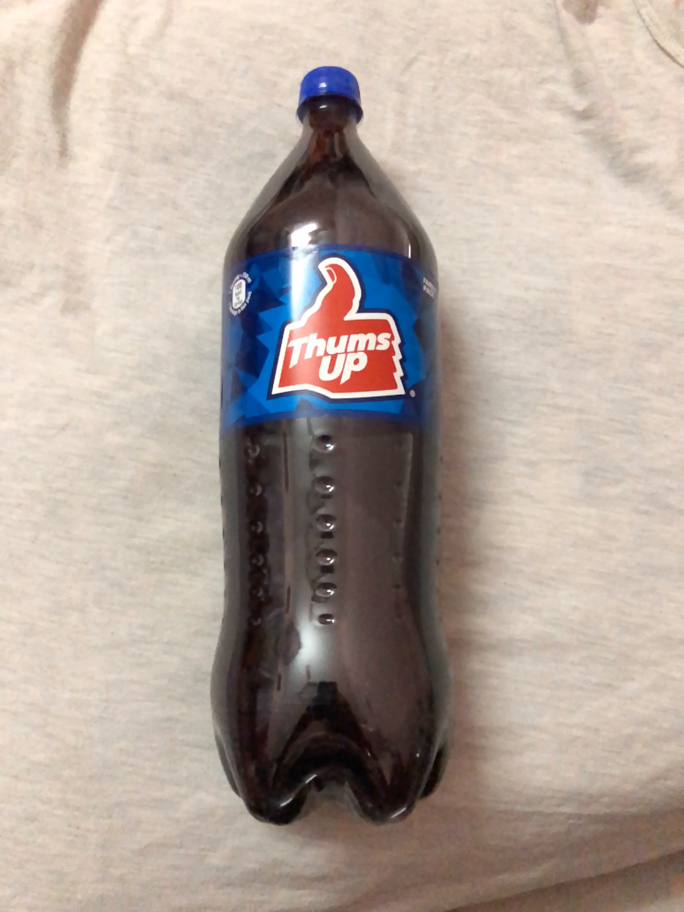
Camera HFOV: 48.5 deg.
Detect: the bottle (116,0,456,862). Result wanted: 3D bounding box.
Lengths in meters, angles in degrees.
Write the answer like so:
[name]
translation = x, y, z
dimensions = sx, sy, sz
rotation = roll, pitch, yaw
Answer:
[bottle]
translation = -0.020, -0.024, 0.282
dimensions = 0.100, 0.060, 0.300
rotation = -1, 79, -2
